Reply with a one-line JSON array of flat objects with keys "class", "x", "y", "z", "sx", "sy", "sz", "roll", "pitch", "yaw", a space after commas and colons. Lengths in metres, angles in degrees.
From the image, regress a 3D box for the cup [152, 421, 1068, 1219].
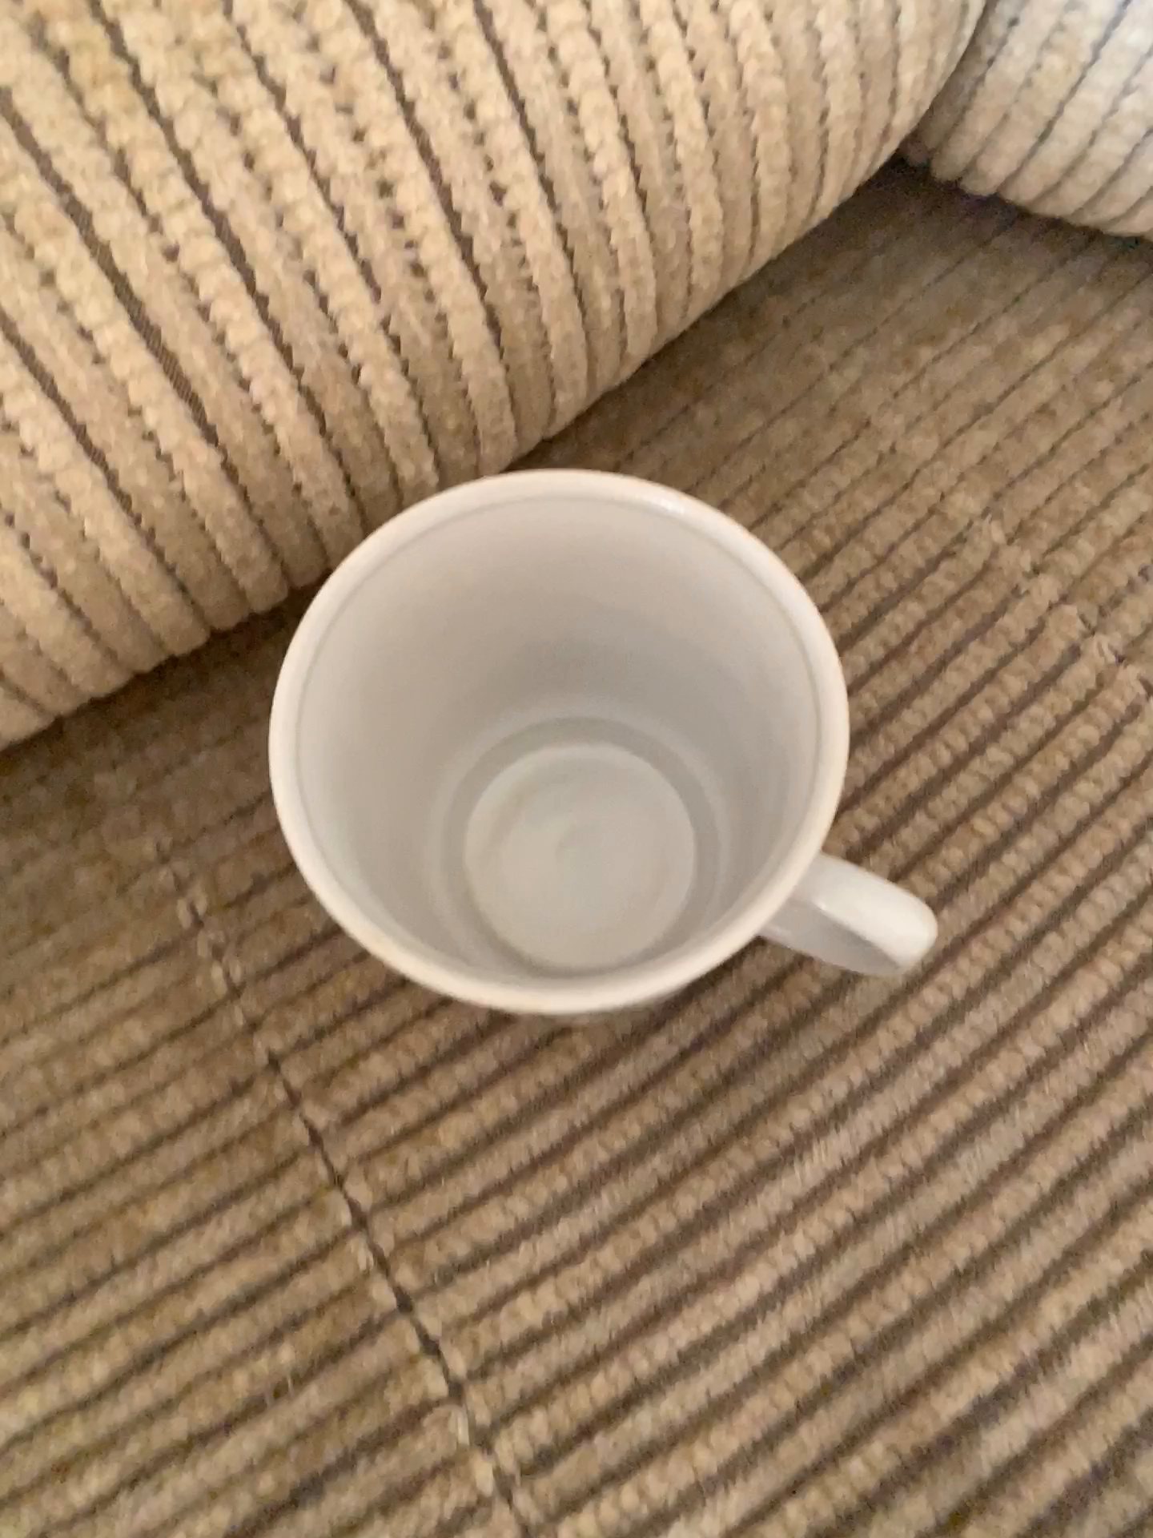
[{"class": "cup", "x": 0.012, "y": 0.010, "z": 0.210, "sx": 0.112, "sy": 0.077, "sz": 0.096, "roll": 13, "pitch": 68, "yaw": 14}]
